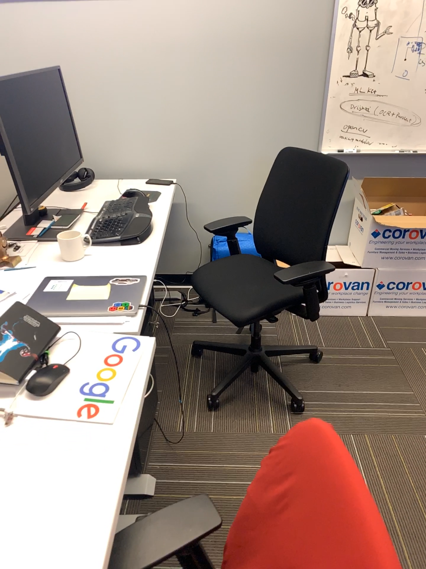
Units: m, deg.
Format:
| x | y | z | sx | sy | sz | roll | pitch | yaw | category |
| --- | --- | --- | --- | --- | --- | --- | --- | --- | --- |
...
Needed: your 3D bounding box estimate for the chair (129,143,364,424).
| x | y | z | sx | sy | sz | roll | pitch | yaw | category |
| --- | --- | --- | --- | --- | --- | --- | --- | --- | --- |
| 0.104 | -0.077 | 2.059 | 0.611 | 0.945 | 0.834 | -18 | 34 | -29 | chair |
